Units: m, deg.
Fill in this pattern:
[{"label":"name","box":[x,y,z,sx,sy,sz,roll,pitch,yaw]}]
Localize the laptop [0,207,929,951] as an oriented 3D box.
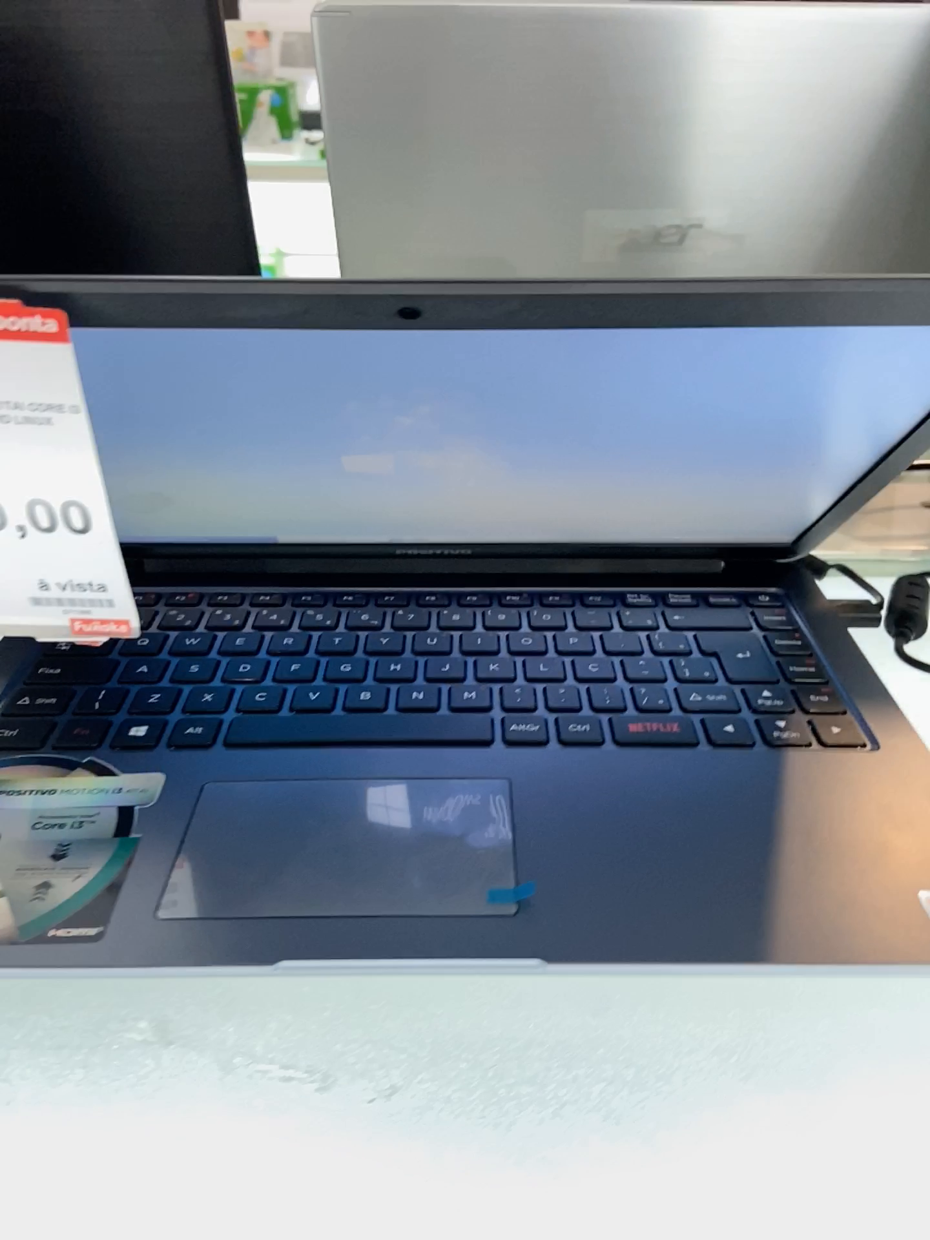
[{"label":"laptop","box":[-0.012,-0.034,0.293,0.316,0.145,0.212,0,30,0]}]
